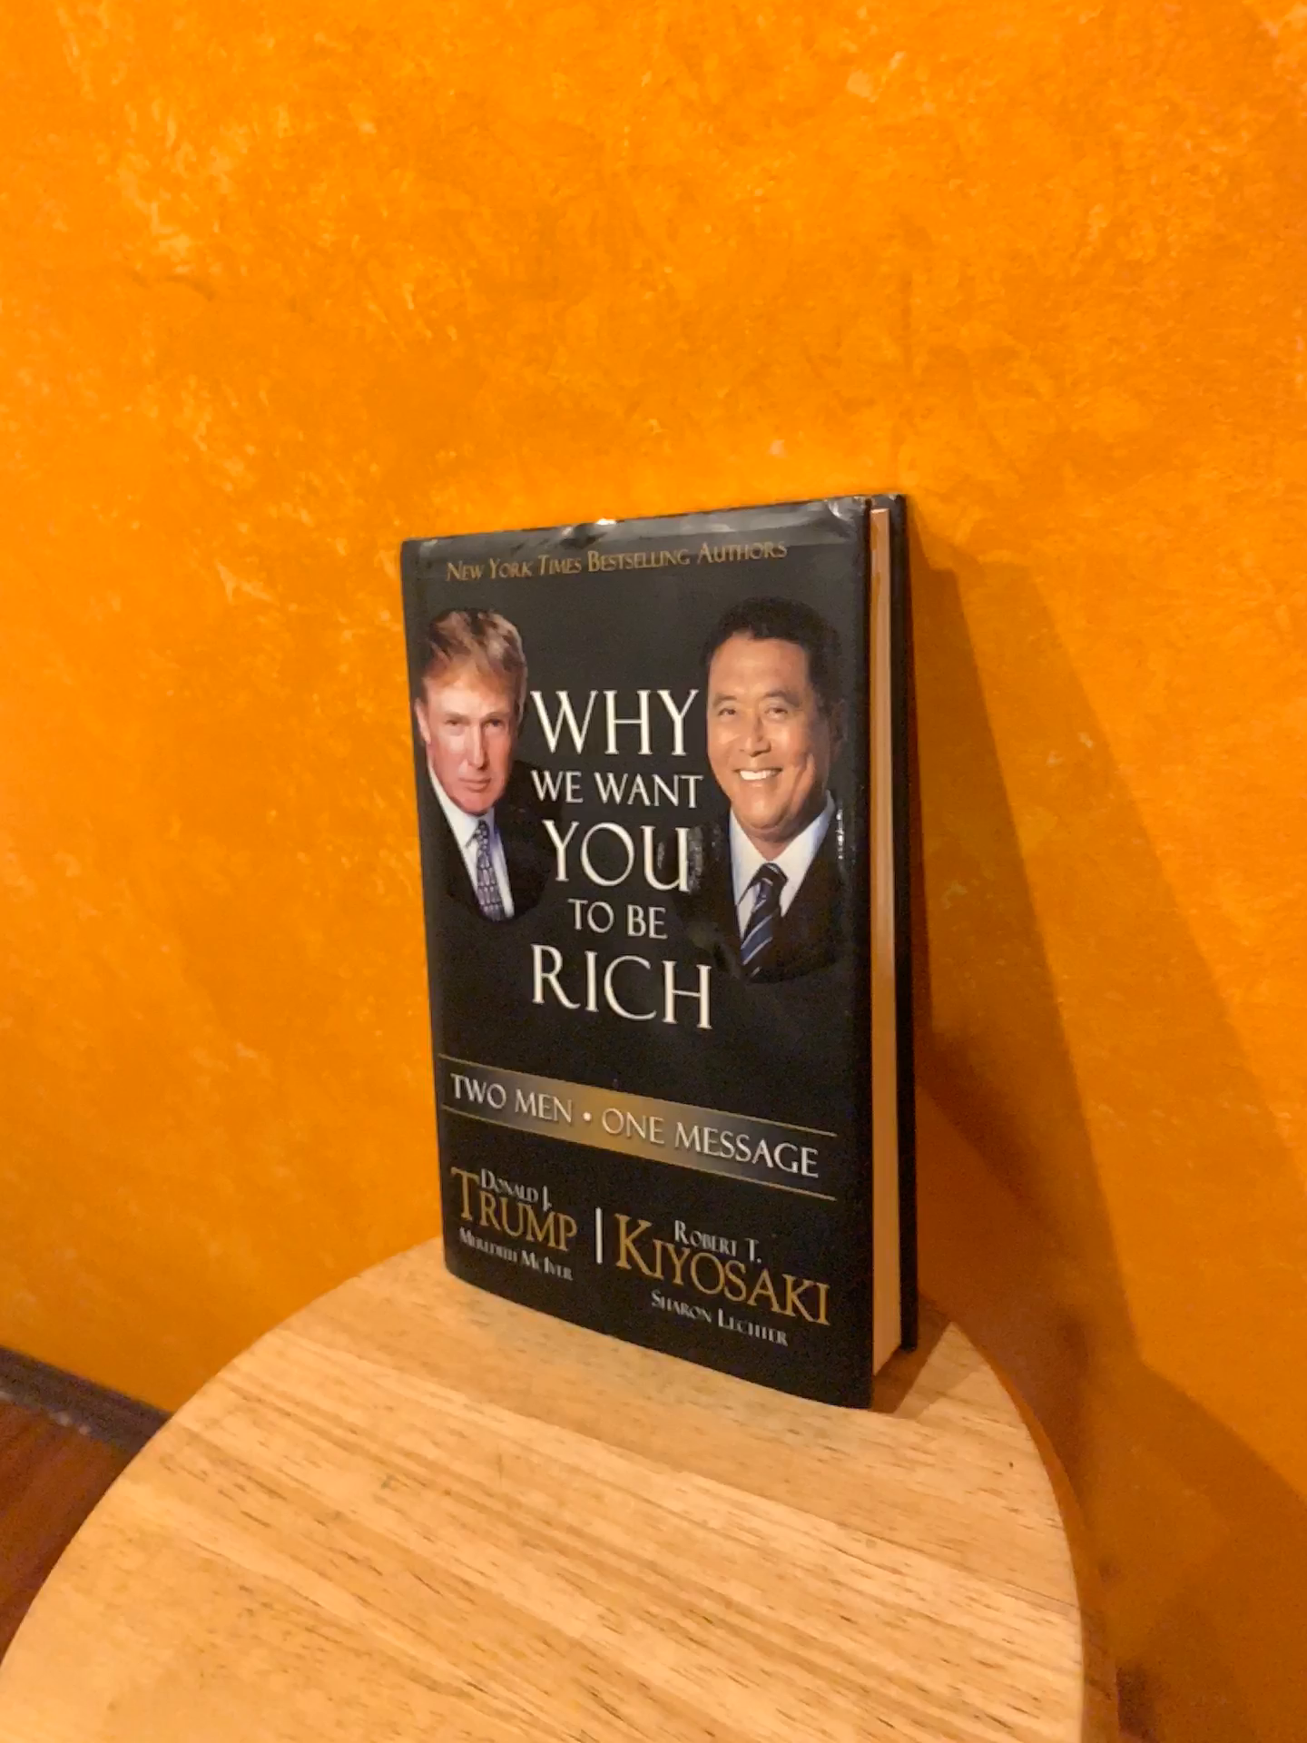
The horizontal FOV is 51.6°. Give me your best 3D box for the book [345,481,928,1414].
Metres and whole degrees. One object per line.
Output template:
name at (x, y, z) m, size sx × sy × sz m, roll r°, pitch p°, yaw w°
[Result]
book at (-0.007, 0.013, 0.360) m, size 0.151 × 0.210 × 0.044 m, roll 5°, pitch 12°, yaw 37°
